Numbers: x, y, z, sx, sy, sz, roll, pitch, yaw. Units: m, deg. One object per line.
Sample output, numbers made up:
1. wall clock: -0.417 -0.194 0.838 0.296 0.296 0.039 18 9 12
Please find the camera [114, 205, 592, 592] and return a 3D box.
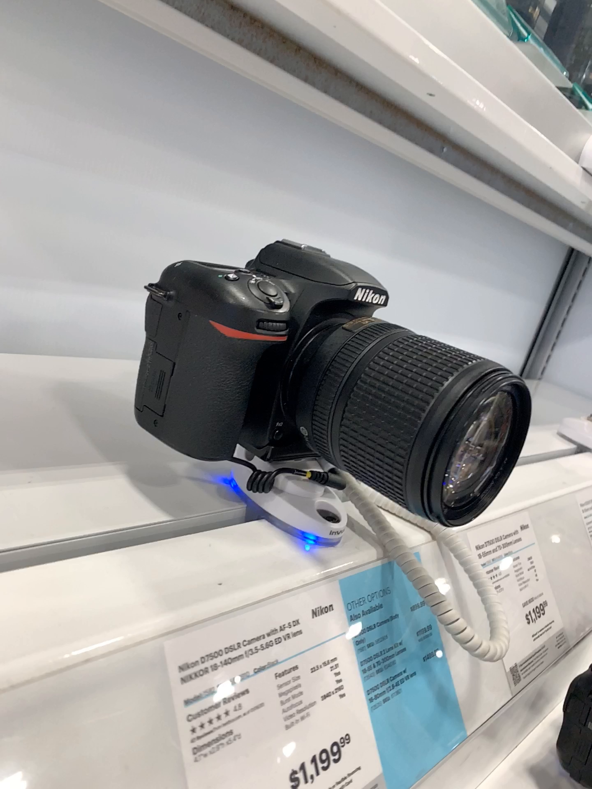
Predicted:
1. camera: 0.025 -0.014 0.295 0.172 0.107 0.131 23 16 37
